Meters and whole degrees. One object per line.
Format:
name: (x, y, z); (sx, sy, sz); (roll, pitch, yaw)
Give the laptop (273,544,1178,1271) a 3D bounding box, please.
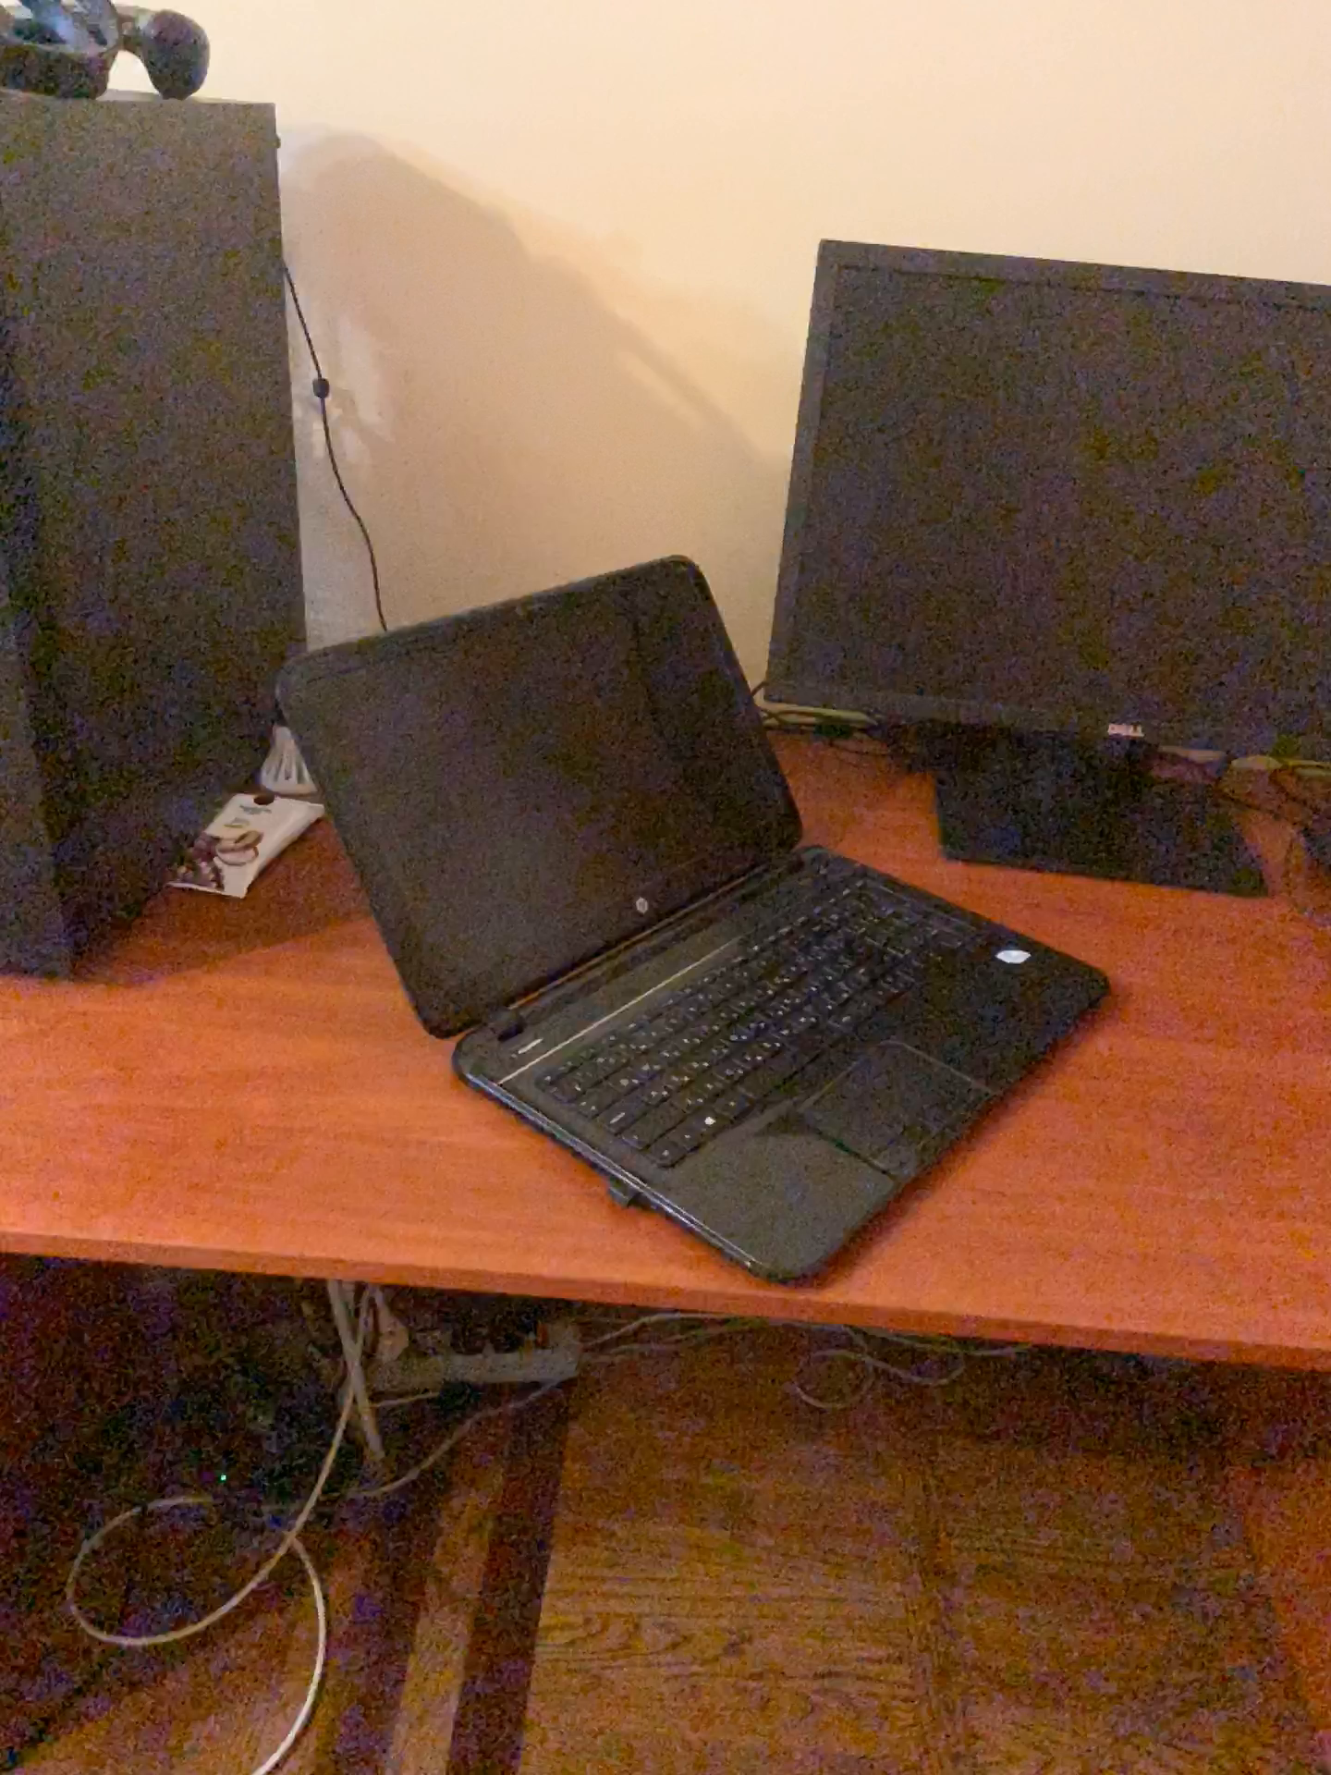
laptop: (0.034, -0.033, 0.761); (0.358, 0.168, 0.333); (28, 36, 31)
